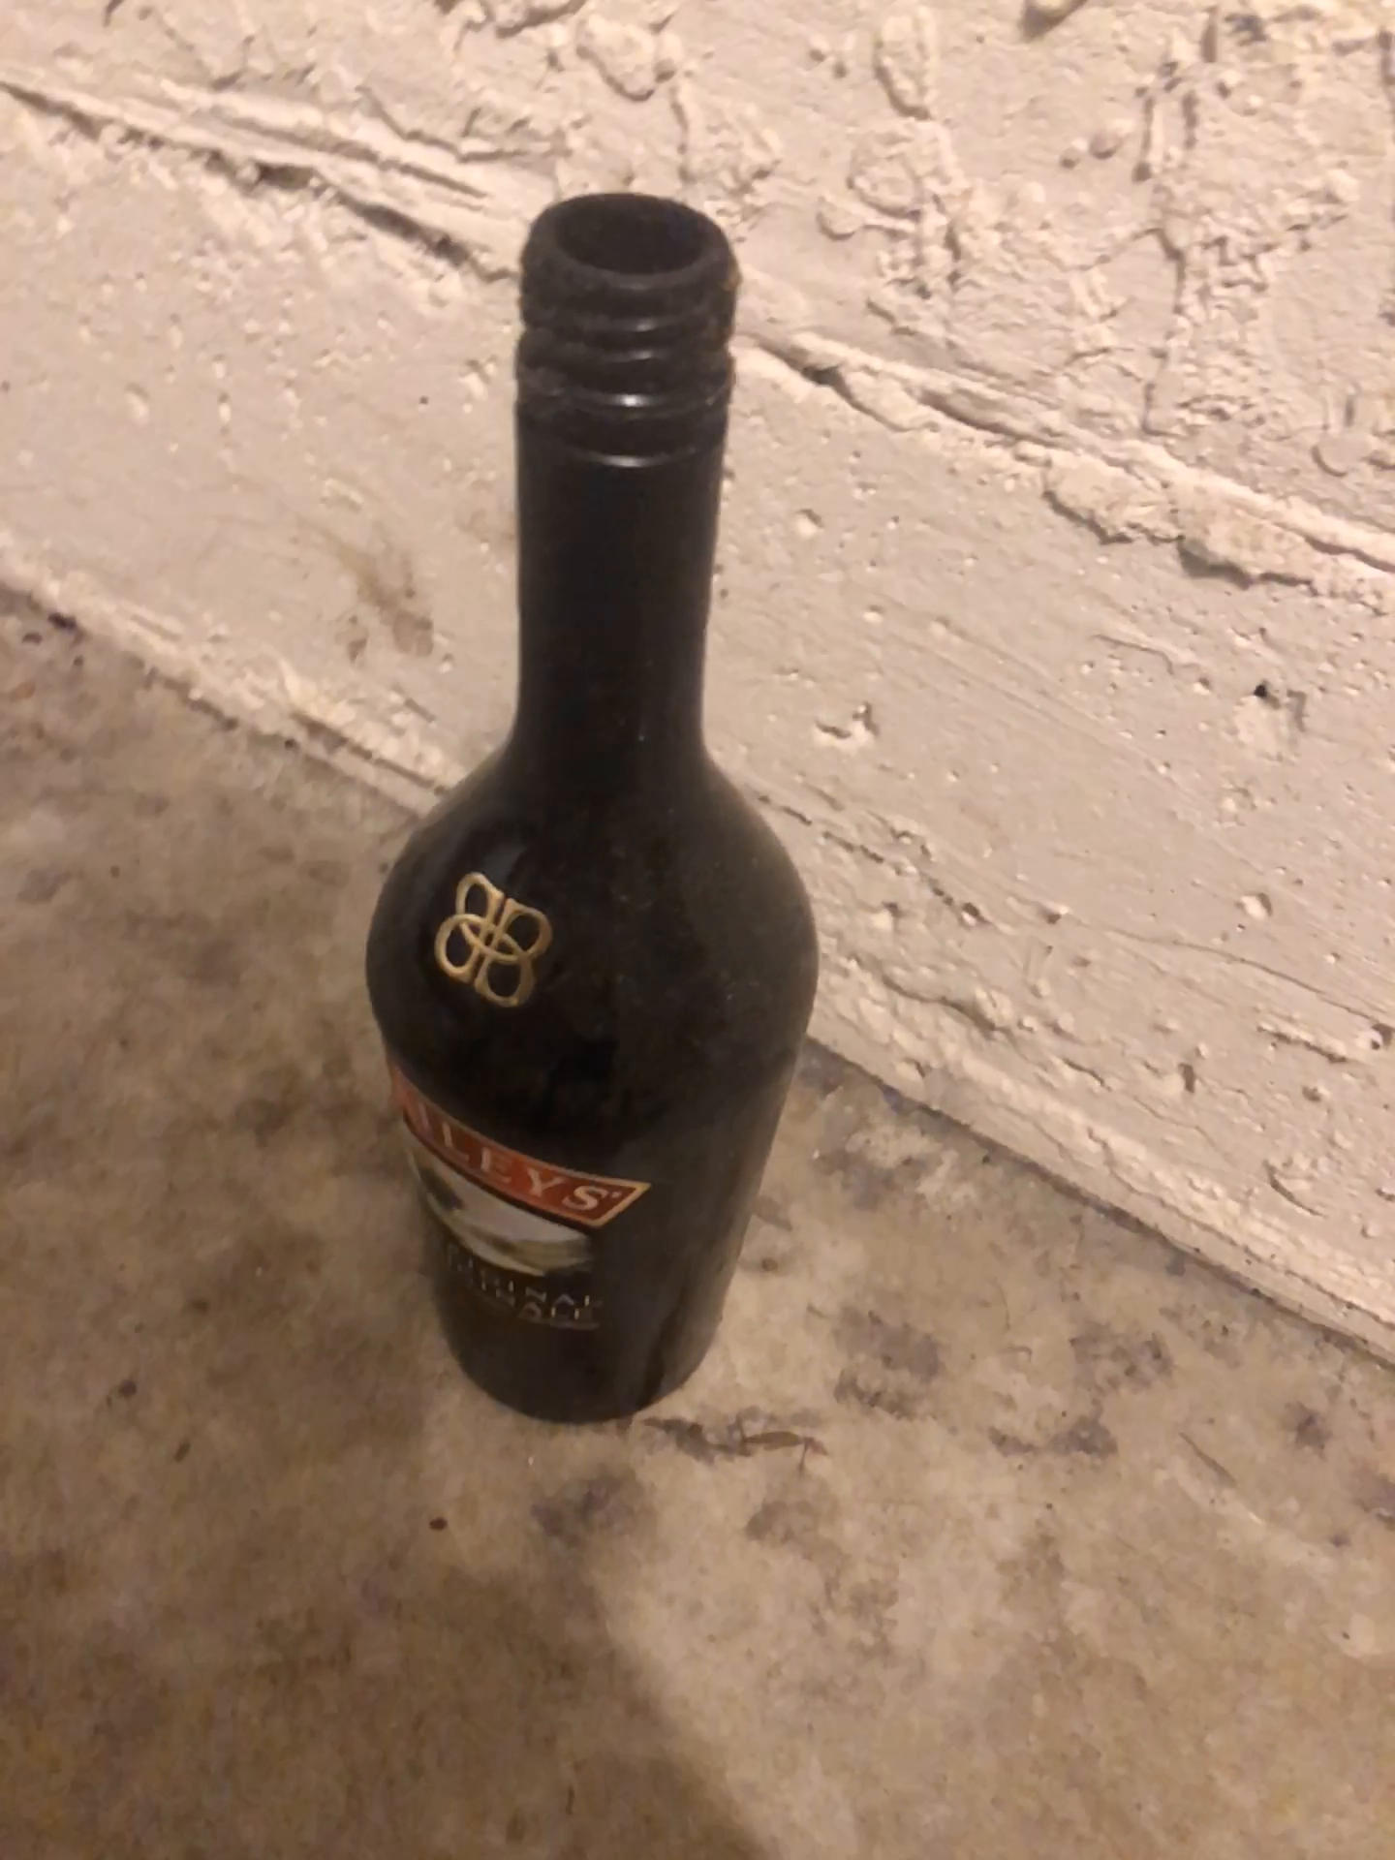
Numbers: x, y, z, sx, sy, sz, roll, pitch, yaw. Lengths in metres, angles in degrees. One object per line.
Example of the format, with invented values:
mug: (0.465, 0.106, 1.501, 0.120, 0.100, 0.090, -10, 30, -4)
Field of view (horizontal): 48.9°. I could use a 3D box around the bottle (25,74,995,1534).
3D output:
bottle: (-0.028, 0.002, 0.286, 0.090, 0.258, 0.080, 30, 52, 22)
